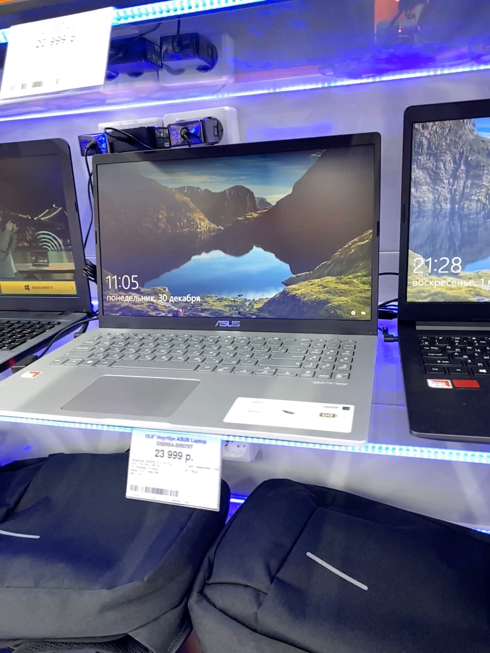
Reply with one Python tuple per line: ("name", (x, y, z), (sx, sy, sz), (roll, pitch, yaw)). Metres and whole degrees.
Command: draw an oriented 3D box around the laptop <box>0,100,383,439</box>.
("laptop", (-0.056, -0.070, 0.498), (0.360, 0.216, 0.286), (1, 17, 17))
